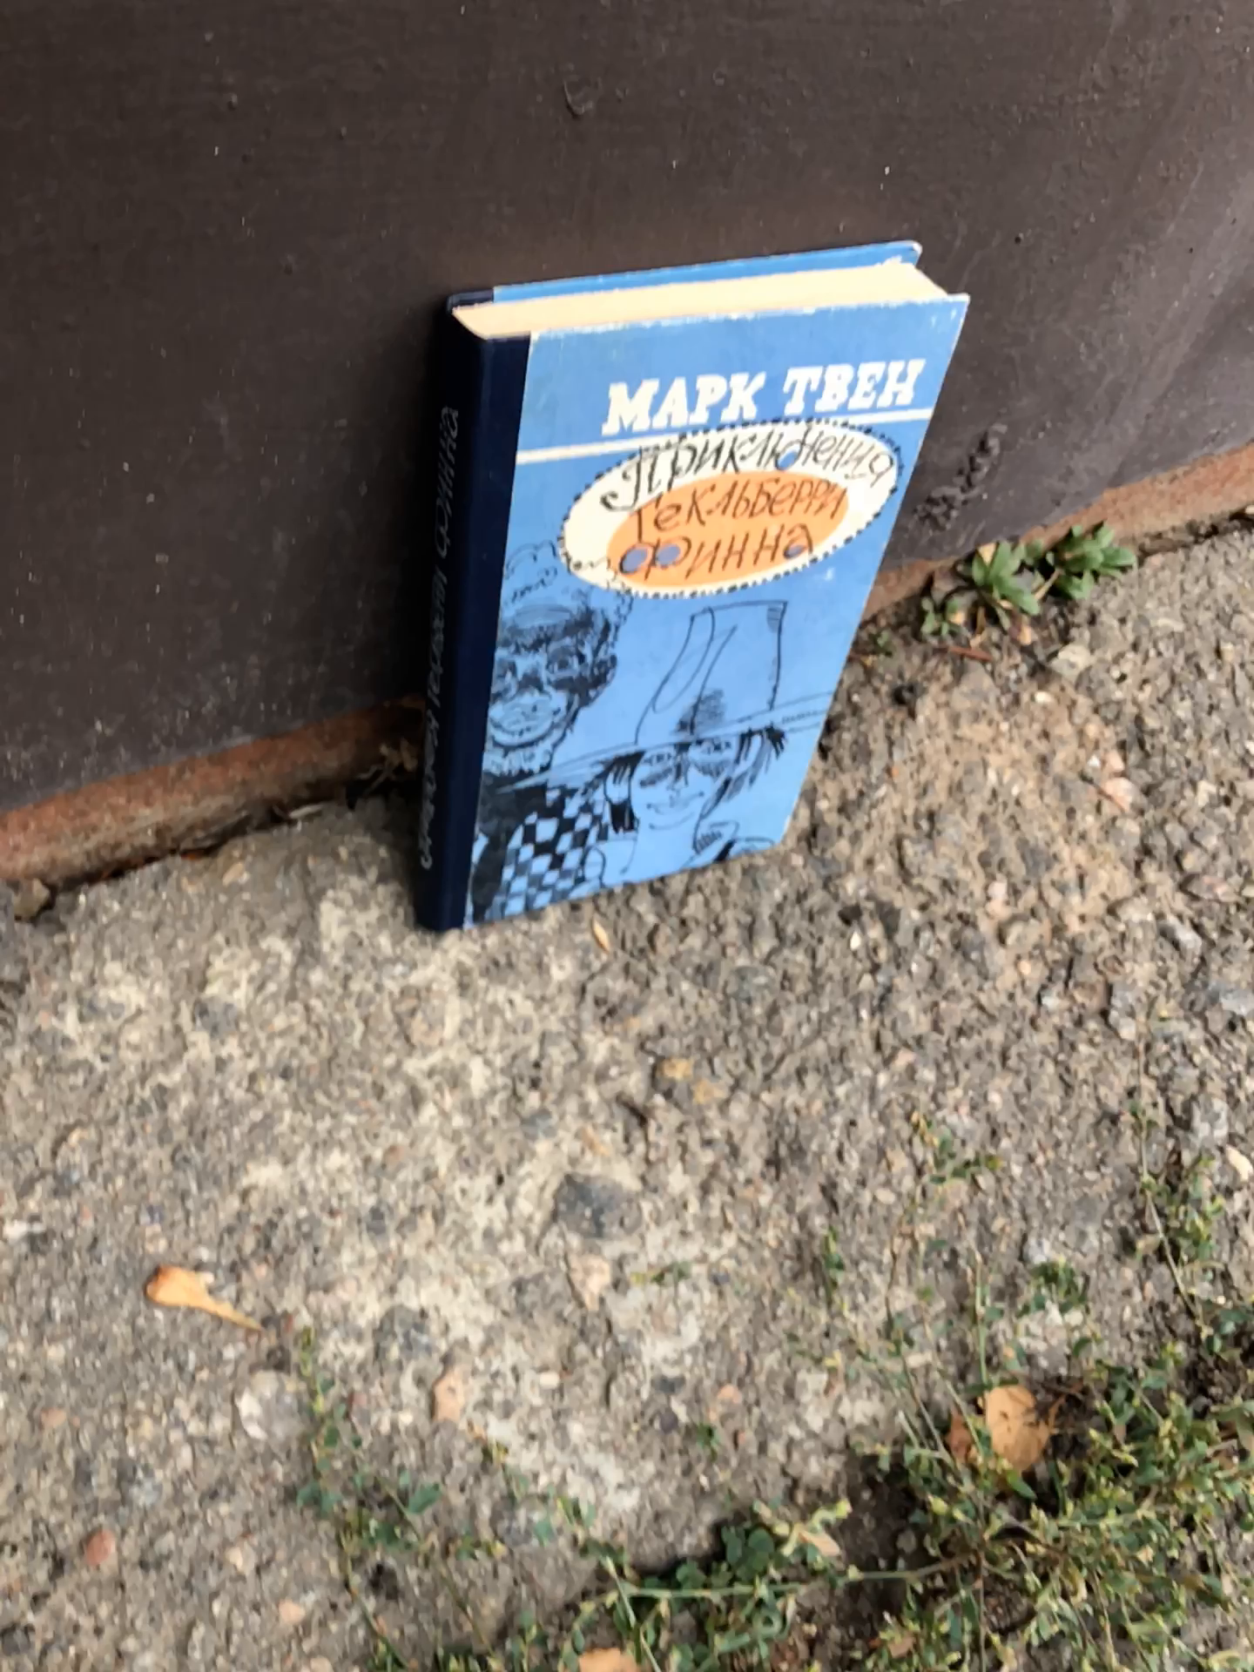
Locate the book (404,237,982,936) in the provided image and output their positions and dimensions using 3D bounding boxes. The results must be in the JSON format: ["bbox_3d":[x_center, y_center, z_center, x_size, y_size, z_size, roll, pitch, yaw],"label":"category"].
[{"bbox_3d":[0.009,-0.059,0.379,0.130,0.186,0.030,-14,50,-19],"label":"book"}]
